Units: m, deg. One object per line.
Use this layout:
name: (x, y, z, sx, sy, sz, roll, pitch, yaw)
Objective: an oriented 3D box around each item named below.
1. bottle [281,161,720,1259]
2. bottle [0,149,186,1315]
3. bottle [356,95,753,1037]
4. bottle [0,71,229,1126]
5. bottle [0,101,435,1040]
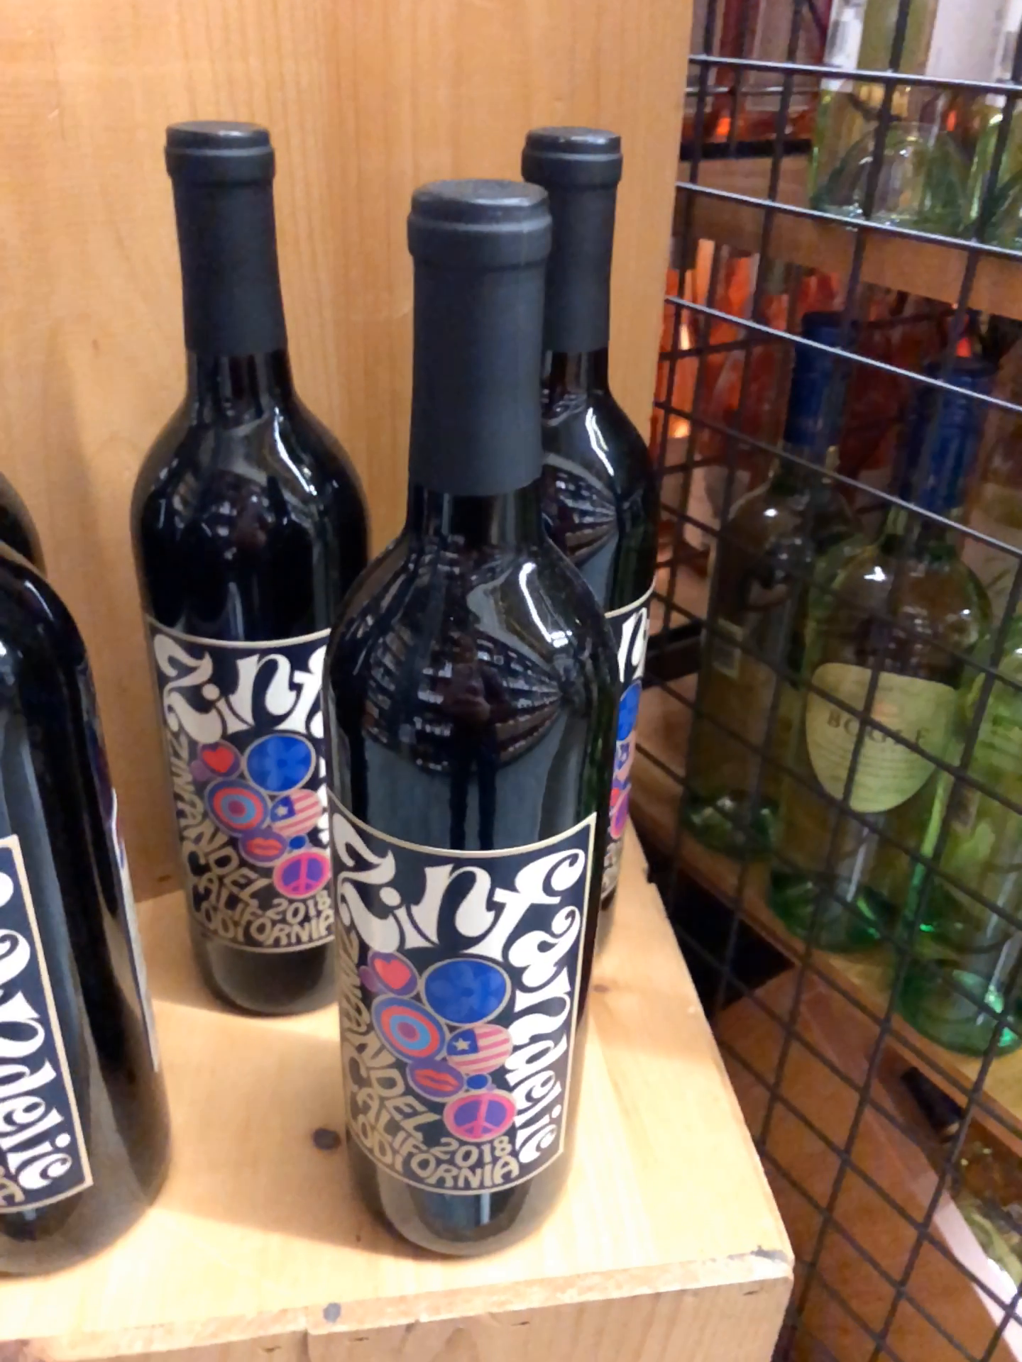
bottle: (-0.010, 0.028, 0.291, 0.073, 0.286, 0.070, 2, 31, -1)
bottle: (-0.147, 0.035, 0.293, 0.080, 0.304, 0.077, 2, 31, -1)
bottle: (0.006, -0.027, 0.397, 0.080, 0.310, 0.077, 2, 31, -1)
bottle: (-0.147, -0.010, 0.321, 0.077, 0.280, 0.080, 2, 31, -1)
bottle: (-0.081, -0.025, 0.359, 0.080, 0.274, 0.077, 2, 31, -1)
